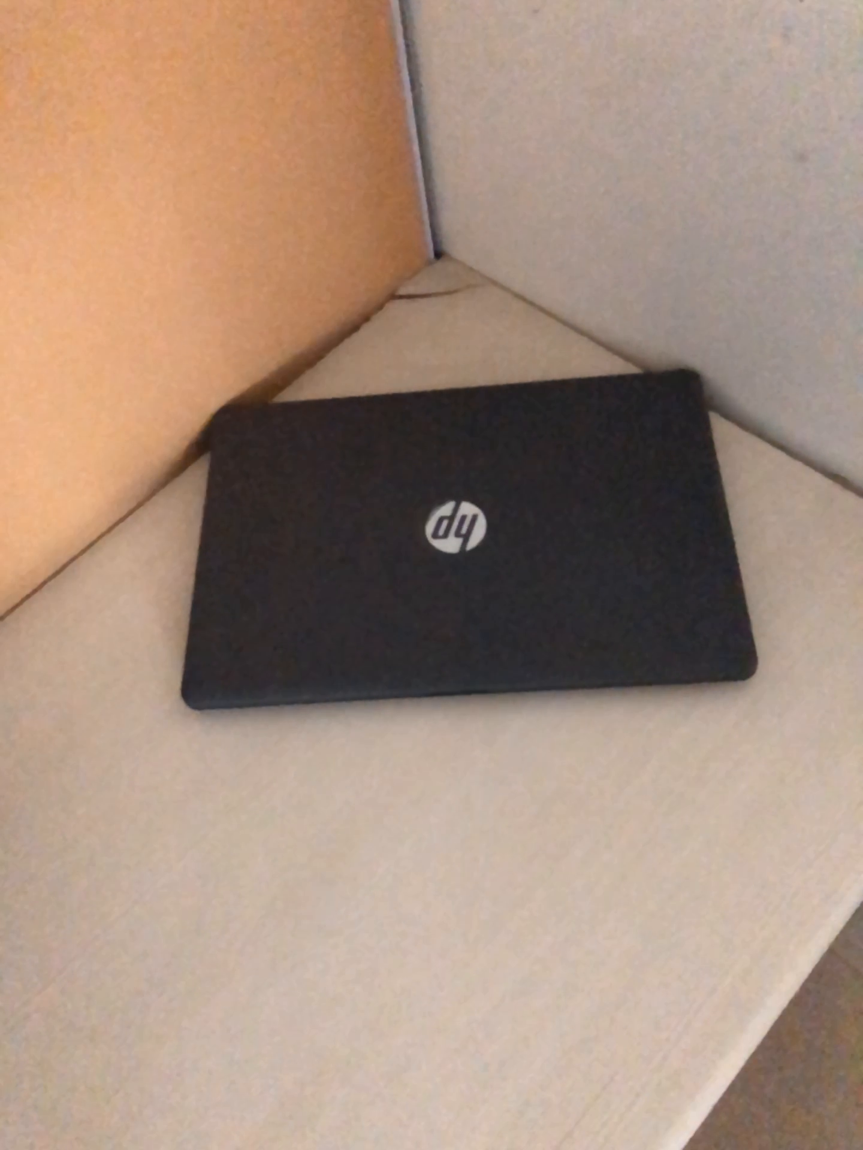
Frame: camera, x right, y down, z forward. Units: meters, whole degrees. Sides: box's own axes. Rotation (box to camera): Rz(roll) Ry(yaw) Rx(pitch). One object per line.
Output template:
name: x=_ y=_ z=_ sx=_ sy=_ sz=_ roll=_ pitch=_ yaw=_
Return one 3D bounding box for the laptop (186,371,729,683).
laptop: x=0.014 y=-0.041 z=0.686 sx=0.356 sy=0.004 sz=0.237 roll=-3 pitch=59 yaw=6
